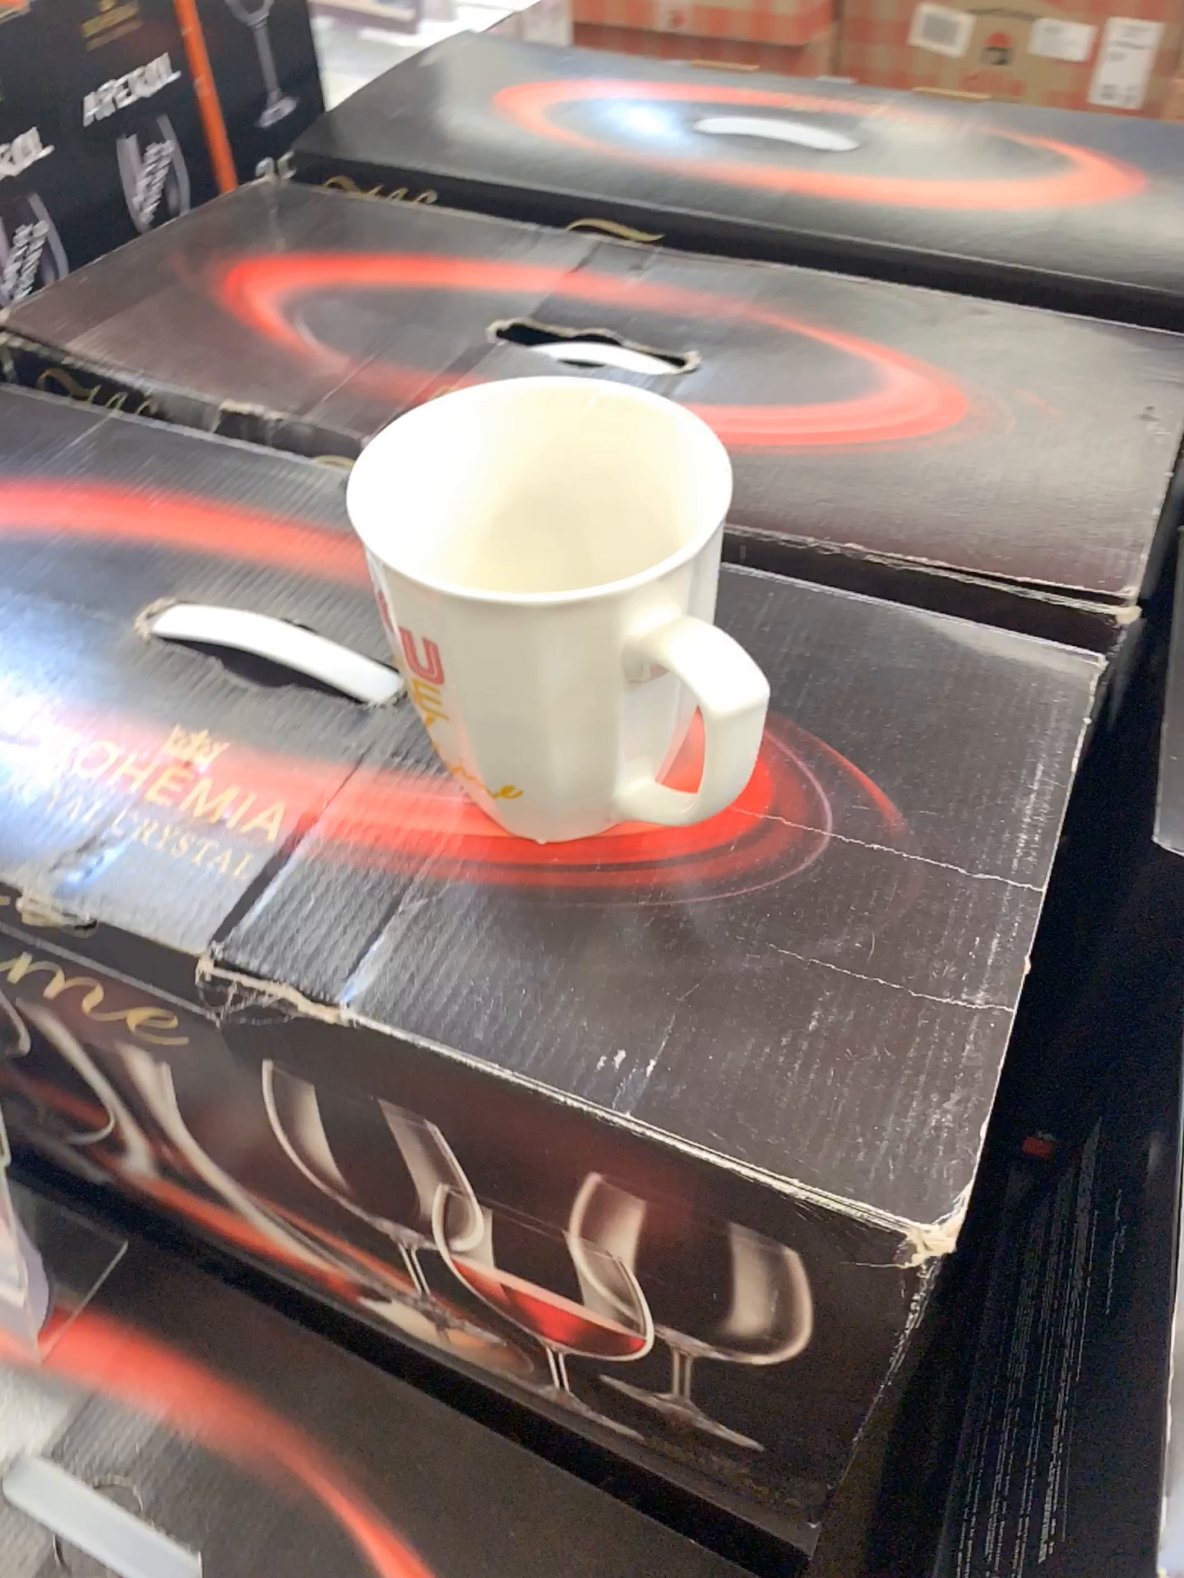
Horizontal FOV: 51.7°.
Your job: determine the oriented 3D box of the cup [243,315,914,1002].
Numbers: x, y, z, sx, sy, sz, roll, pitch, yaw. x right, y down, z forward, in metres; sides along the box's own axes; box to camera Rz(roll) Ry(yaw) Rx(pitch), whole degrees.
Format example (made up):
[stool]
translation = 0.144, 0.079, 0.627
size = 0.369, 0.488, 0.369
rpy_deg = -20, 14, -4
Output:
[cup]
translation = -0.007, -0.036, 0.286
size = 0.090, 0.080, 0.120
rpy_deg = -27, 52, -21
